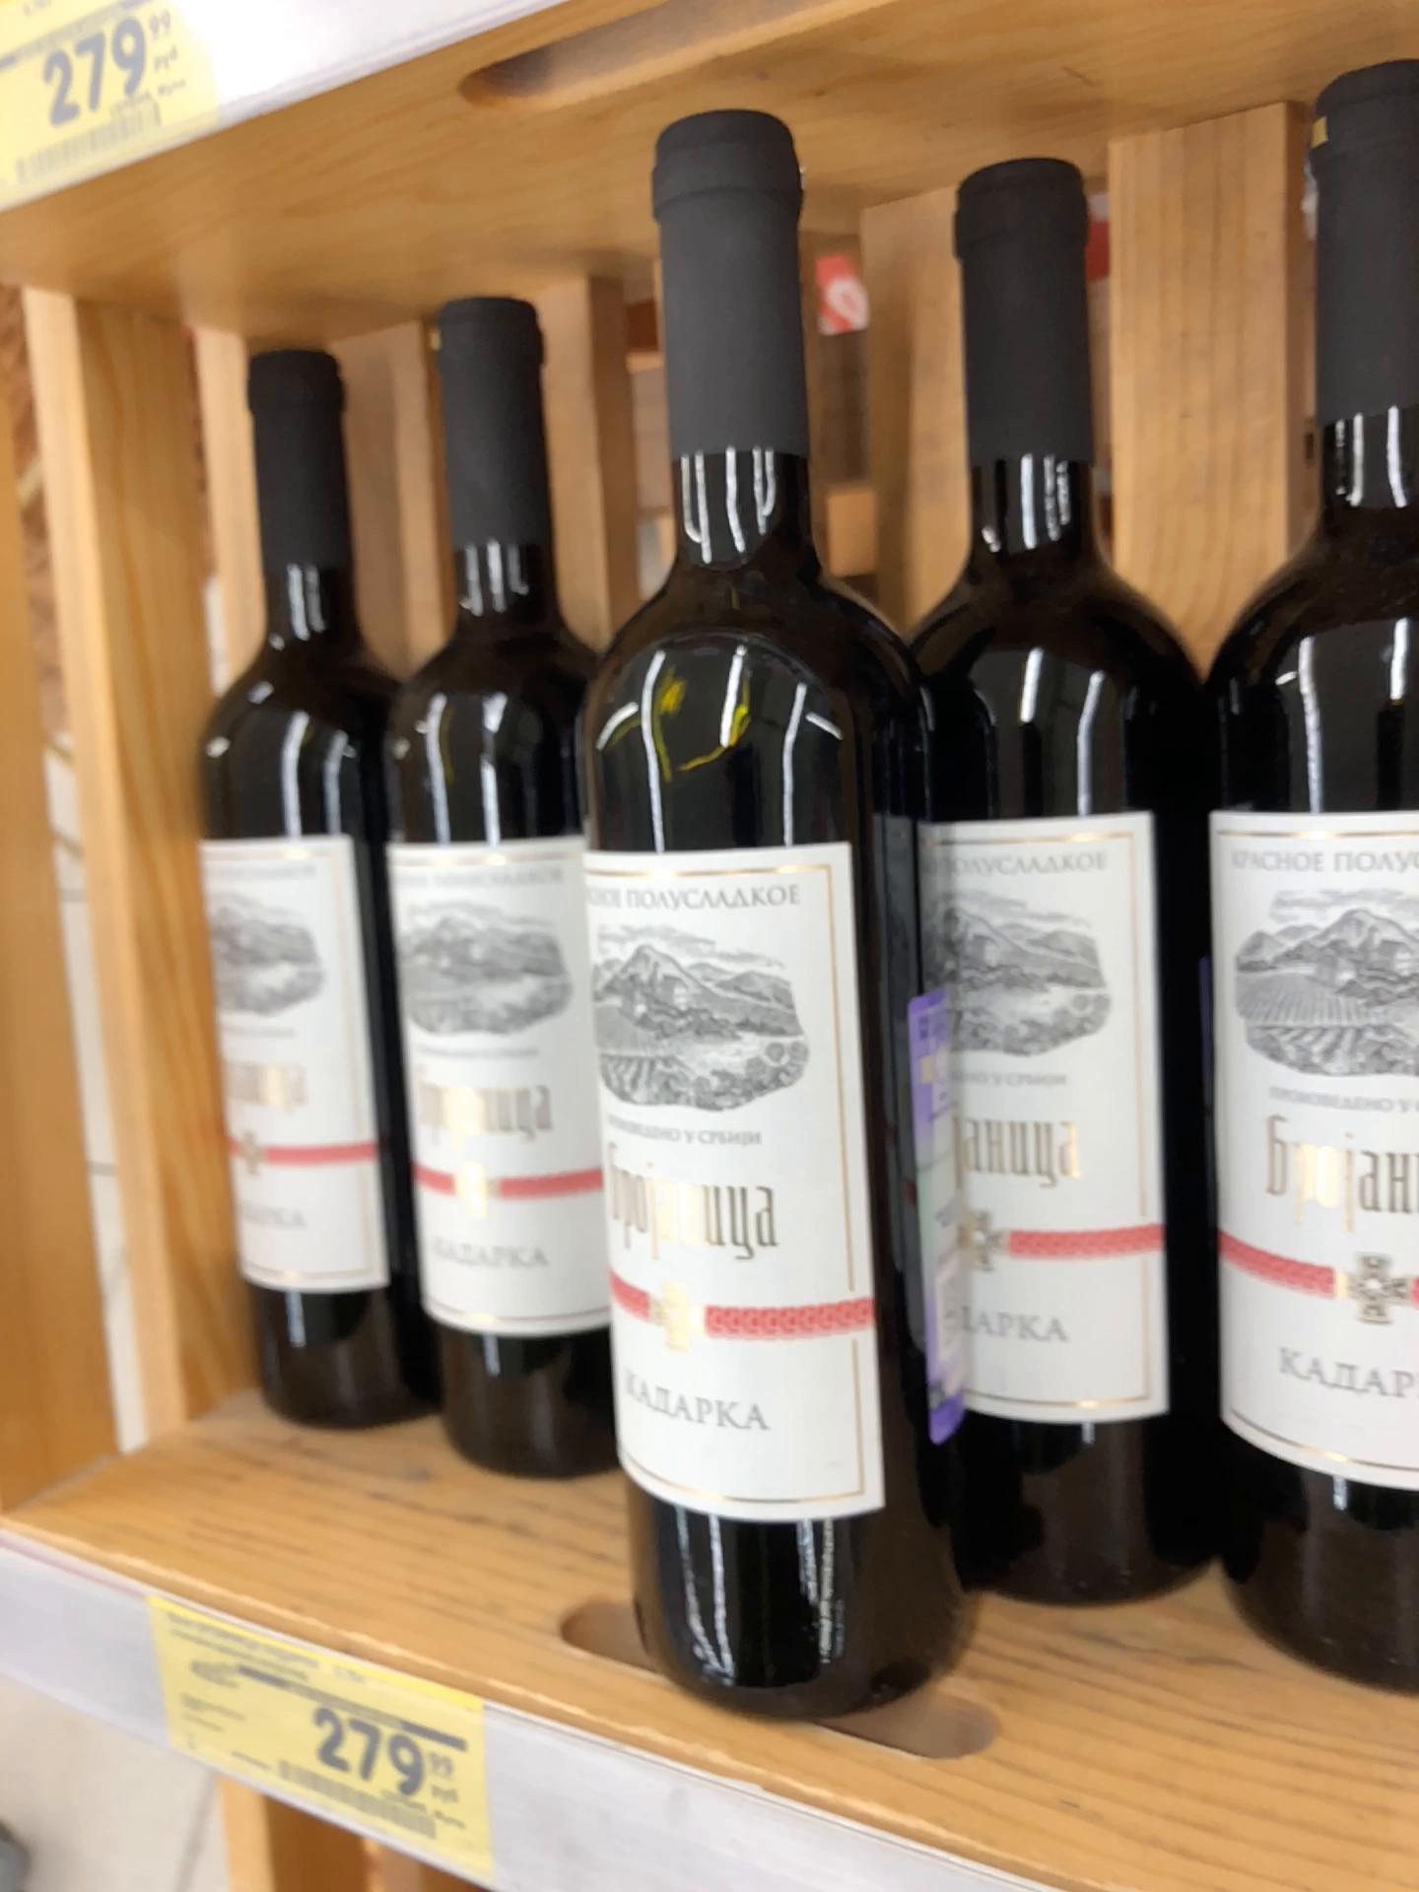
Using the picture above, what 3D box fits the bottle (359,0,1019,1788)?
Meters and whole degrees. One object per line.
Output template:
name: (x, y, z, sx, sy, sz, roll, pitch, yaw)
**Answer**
bottle: (0.002, -0.011, 0.315, 0.080, 0.080, 0.309, 1, 99, 33)
